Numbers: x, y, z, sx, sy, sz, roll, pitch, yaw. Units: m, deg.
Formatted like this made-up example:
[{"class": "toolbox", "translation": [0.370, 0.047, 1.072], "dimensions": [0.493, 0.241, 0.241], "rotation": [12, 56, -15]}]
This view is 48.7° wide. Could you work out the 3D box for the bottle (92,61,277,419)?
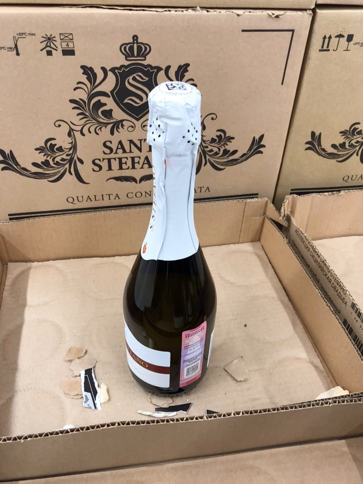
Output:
[{"class": "bottle", "translation": [-0.007, 0.023, 0.345], "dimensions": [0.090, 0.308, 0.090], "rotation": [1, 40, -1]}]
